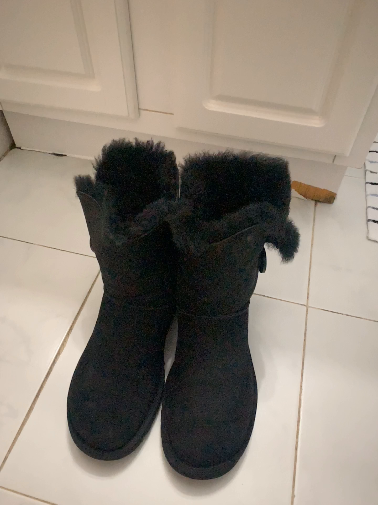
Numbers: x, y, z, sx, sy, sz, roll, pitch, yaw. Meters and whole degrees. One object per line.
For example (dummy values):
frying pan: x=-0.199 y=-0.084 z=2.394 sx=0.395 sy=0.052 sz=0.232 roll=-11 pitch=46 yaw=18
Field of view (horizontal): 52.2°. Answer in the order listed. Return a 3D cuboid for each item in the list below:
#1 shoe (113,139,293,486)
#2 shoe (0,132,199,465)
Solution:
shoe: x=0.028 y=0.054 z=0.394 sx=0.110 sy=0.189 sz=0.281 roll=8 pitch=52 yaw=5
shoe: x=-0.067 y=0.037 z=0.406 sx=0.120 sy=0.169 sz=0.291 roll=6 pitch=52 yaw=3
